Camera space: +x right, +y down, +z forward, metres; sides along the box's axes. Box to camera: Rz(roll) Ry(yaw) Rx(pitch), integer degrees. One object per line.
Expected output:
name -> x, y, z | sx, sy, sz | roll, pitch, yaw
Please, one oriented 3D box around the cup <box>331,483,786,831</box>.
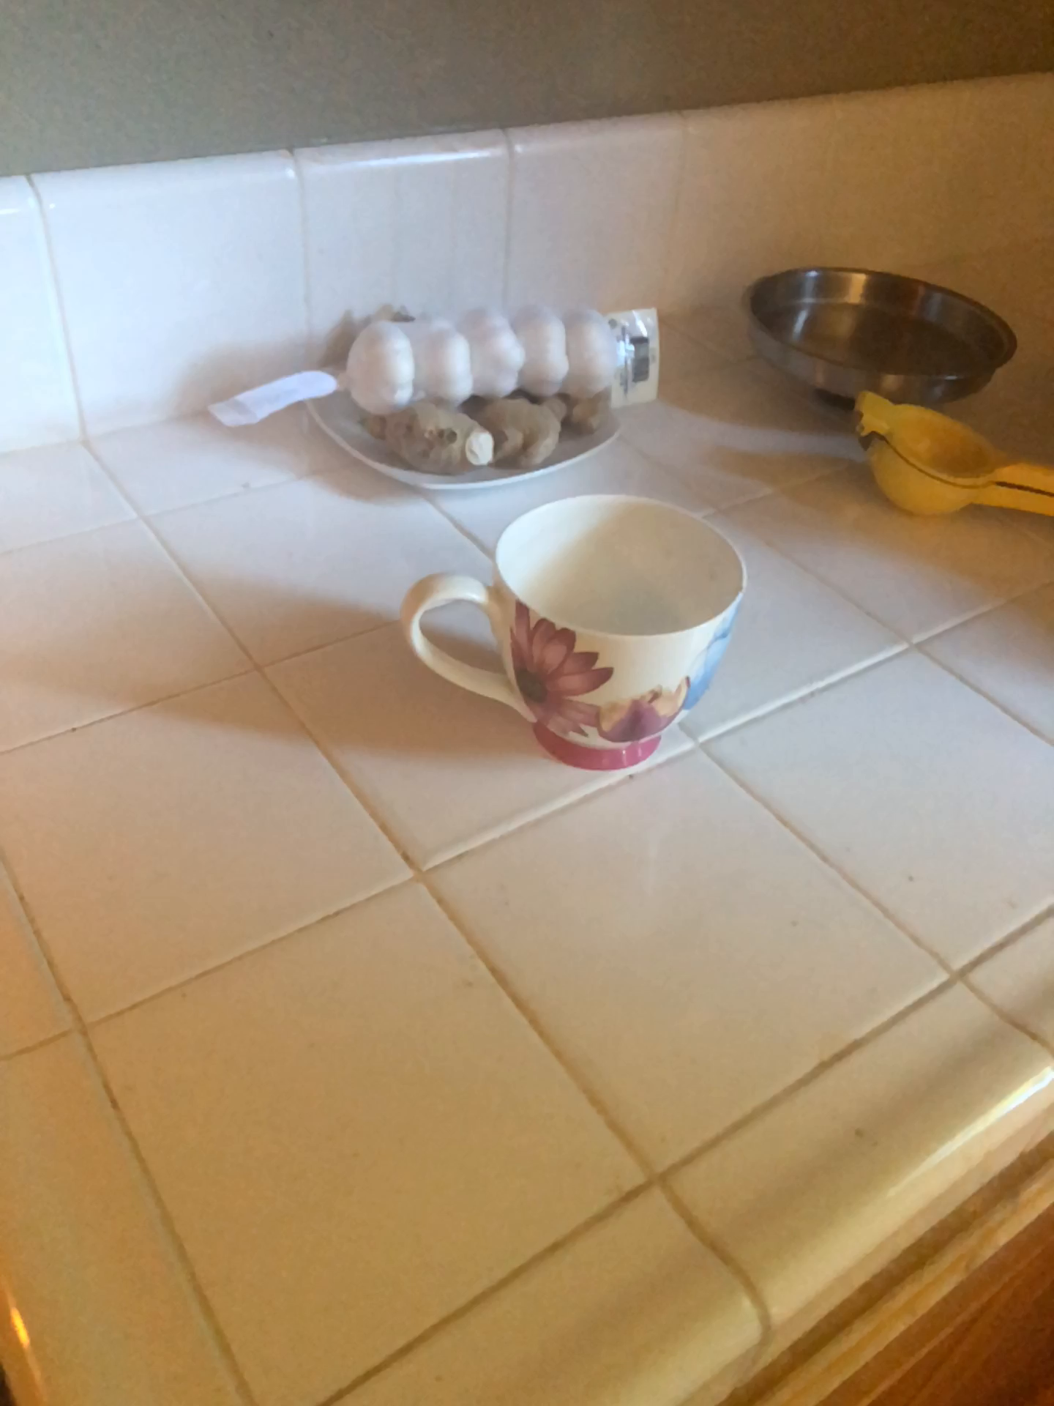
cup -> 0.008, -0.025, 0.522 | 0.170, 0.089, 0.101 | -9, 43, -17
